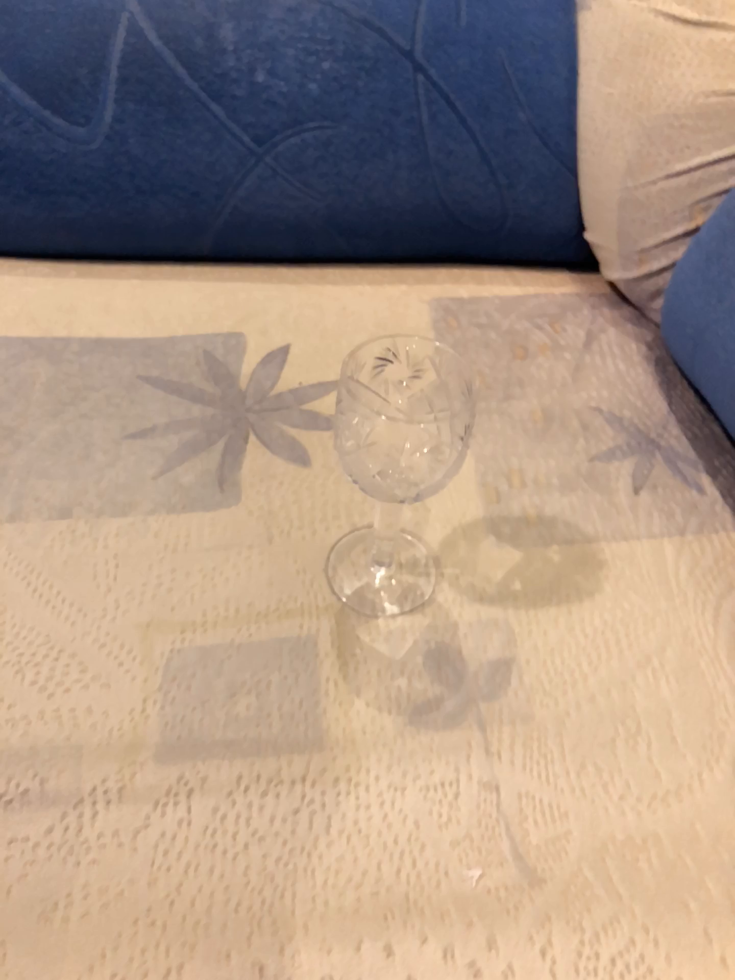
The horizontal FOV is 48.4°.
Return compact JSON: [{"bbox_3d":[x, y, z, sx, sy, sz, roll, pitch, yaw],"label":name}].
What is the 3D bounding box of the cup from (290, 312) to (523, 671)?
[{"bbox_3d":[0.011,0.003,0.326,0.060,0.119,0.060,3,45,-3],"label":"cup"}]
